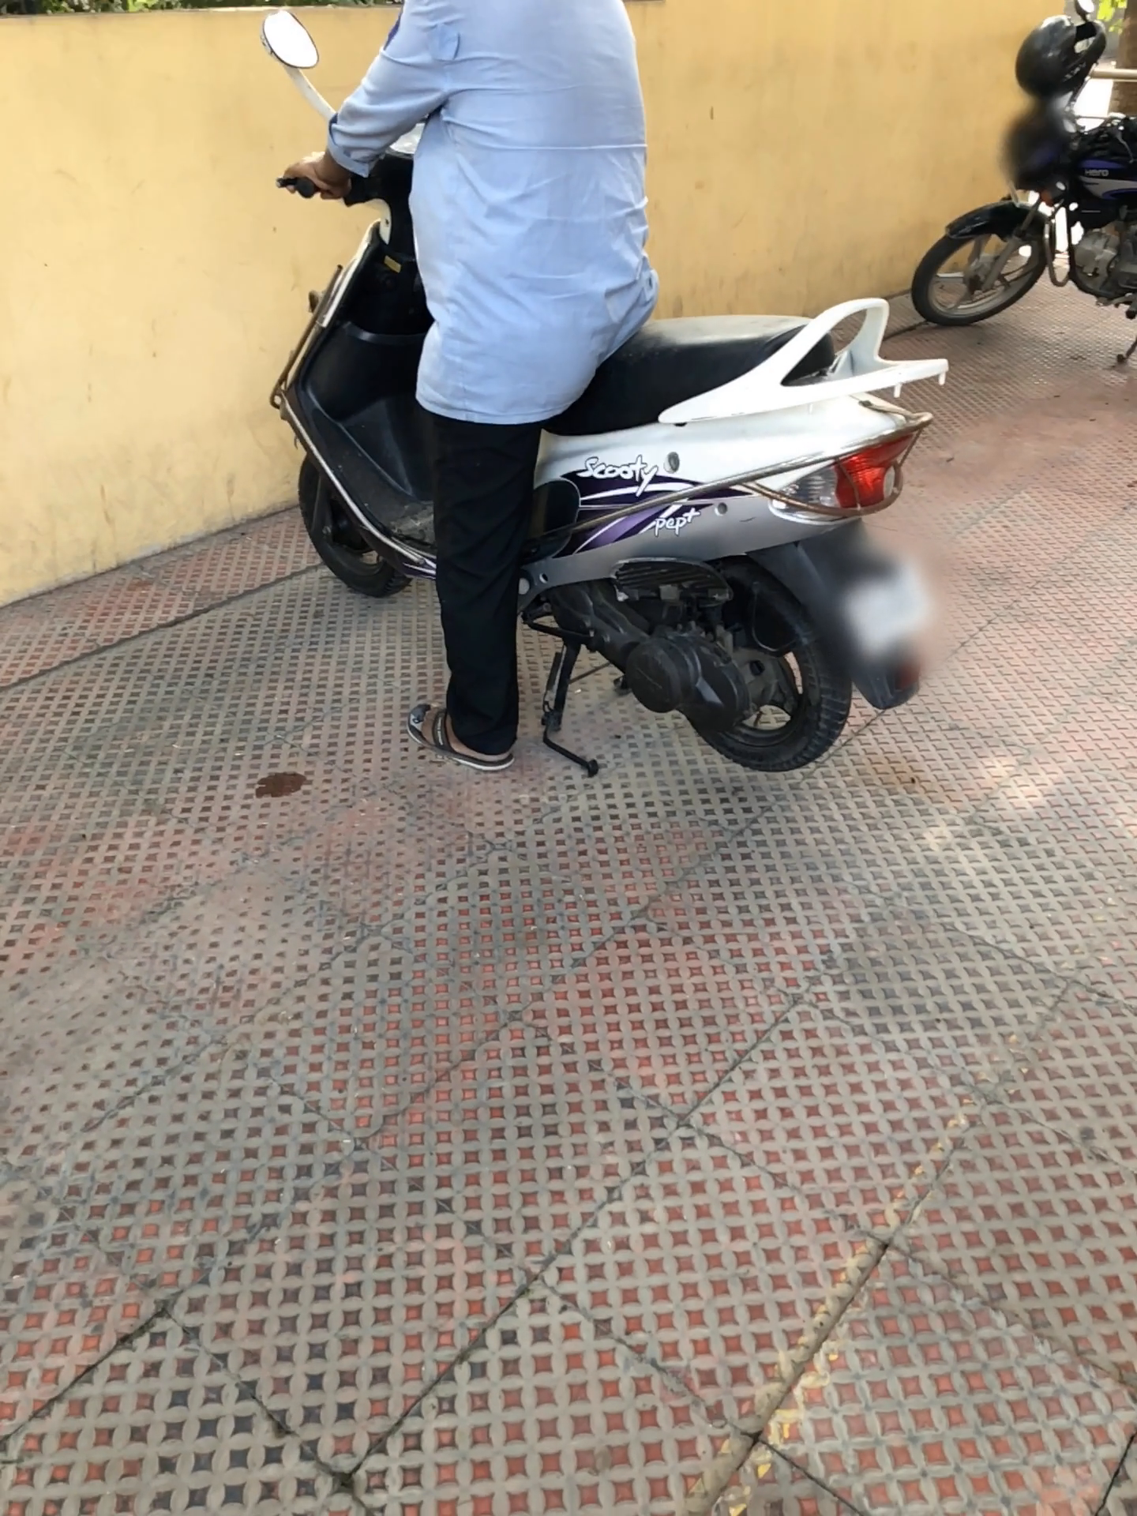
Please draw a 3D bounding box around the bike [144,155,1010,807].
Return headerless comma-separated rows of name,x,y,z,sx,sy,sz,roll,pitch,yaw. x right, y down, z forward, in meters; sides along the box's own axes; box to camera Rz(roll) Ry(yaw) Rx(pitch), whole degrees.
bike,-0.099,-0.667,2.445,0.601,0.816,1.611,-27,40,-36
